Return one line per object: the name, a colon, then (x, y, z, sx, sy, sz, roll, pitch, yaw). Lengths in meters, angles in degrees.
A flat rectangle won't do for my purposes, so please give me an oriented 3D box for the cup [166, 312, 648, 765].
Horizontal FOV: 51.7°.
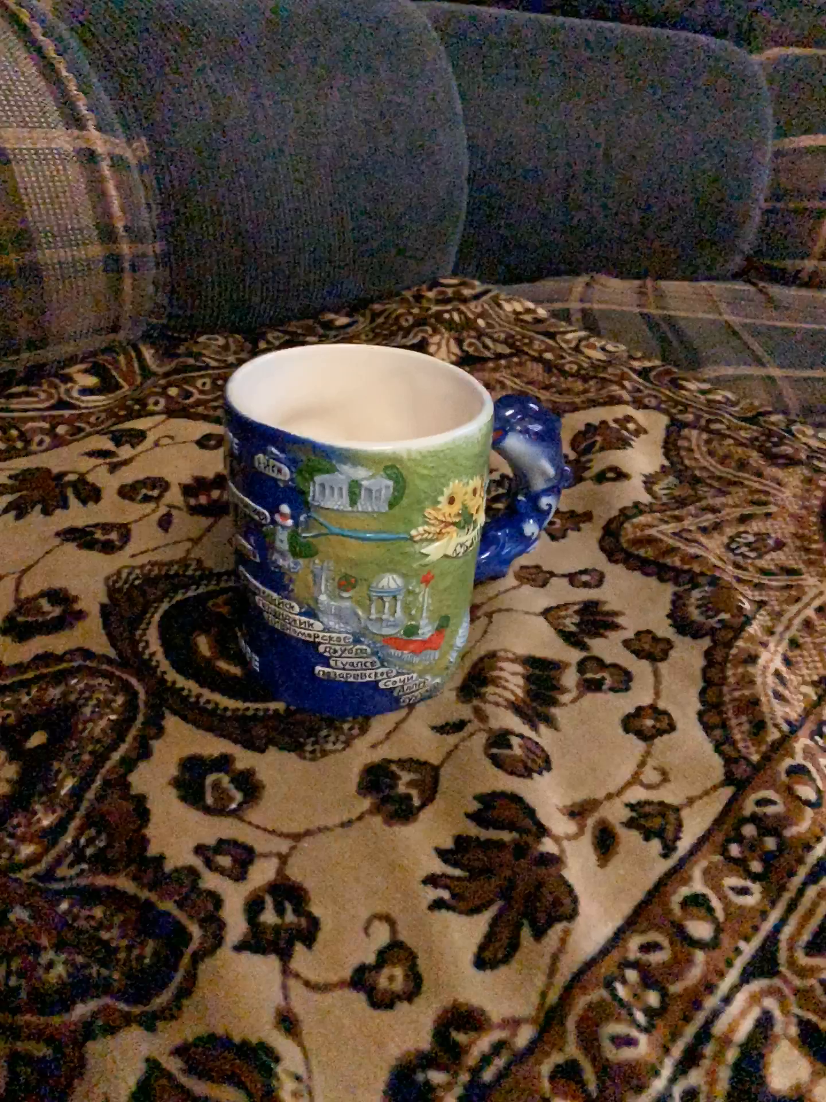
cup: (-0.004, -0.014, 0.310, 0.137, 0.105, 0.084, -18, 40, -32)
